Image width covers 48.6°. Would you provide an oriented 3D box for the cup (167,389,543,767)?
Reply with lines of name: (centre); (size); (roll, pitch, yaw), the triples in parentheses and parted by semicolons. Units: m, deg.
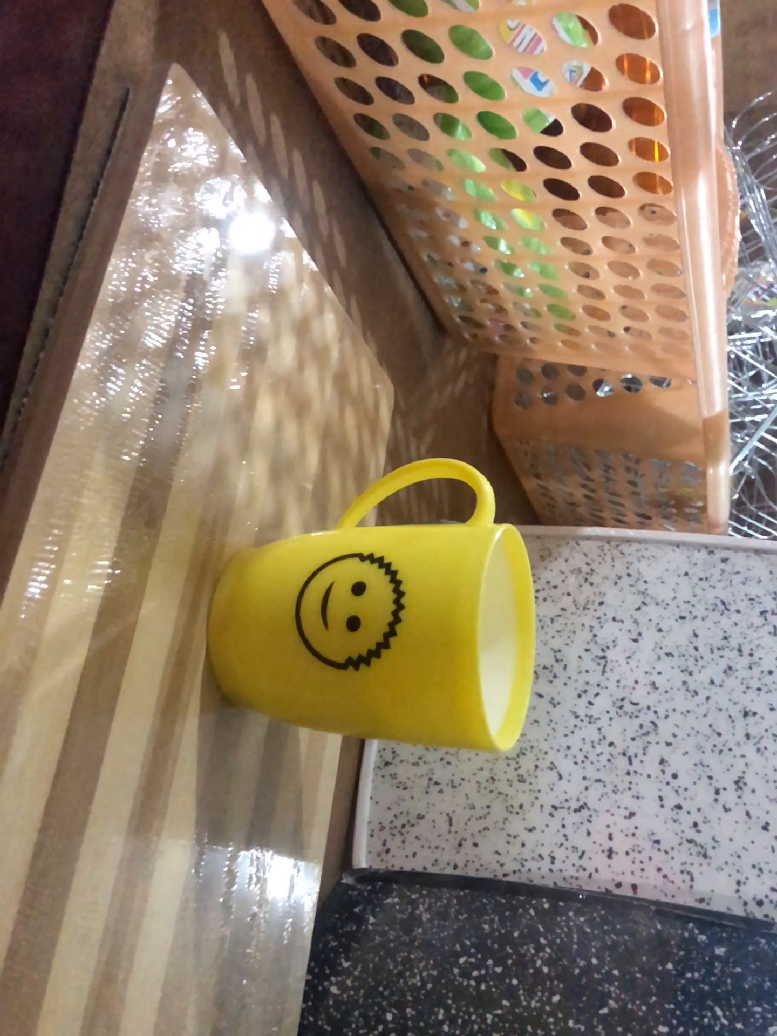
cup: (-0.004, 0.026, 0.311); (0.081, 0.099, 0.110); (44, 48, -60)
